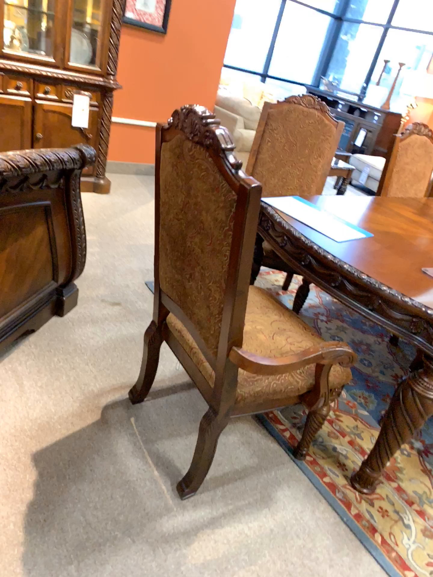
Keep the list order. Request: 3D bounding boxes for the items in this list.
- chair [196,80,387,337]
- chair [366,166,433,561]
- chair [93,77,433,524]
[{"bbox_3d":[0.372,-0.464,2.504,0.603,1.183,0.673,17,28,2],"label":"chair"},{"bbox_3d":[1.169,0.245,1.564,0.564,1.133,0.621,-5,34,-33],"label":"chair"},{"bbox_3d":[0.081,0.040,1.420,0.670,1.123,0.585,-5,35,-34],"label":"chair"}]
